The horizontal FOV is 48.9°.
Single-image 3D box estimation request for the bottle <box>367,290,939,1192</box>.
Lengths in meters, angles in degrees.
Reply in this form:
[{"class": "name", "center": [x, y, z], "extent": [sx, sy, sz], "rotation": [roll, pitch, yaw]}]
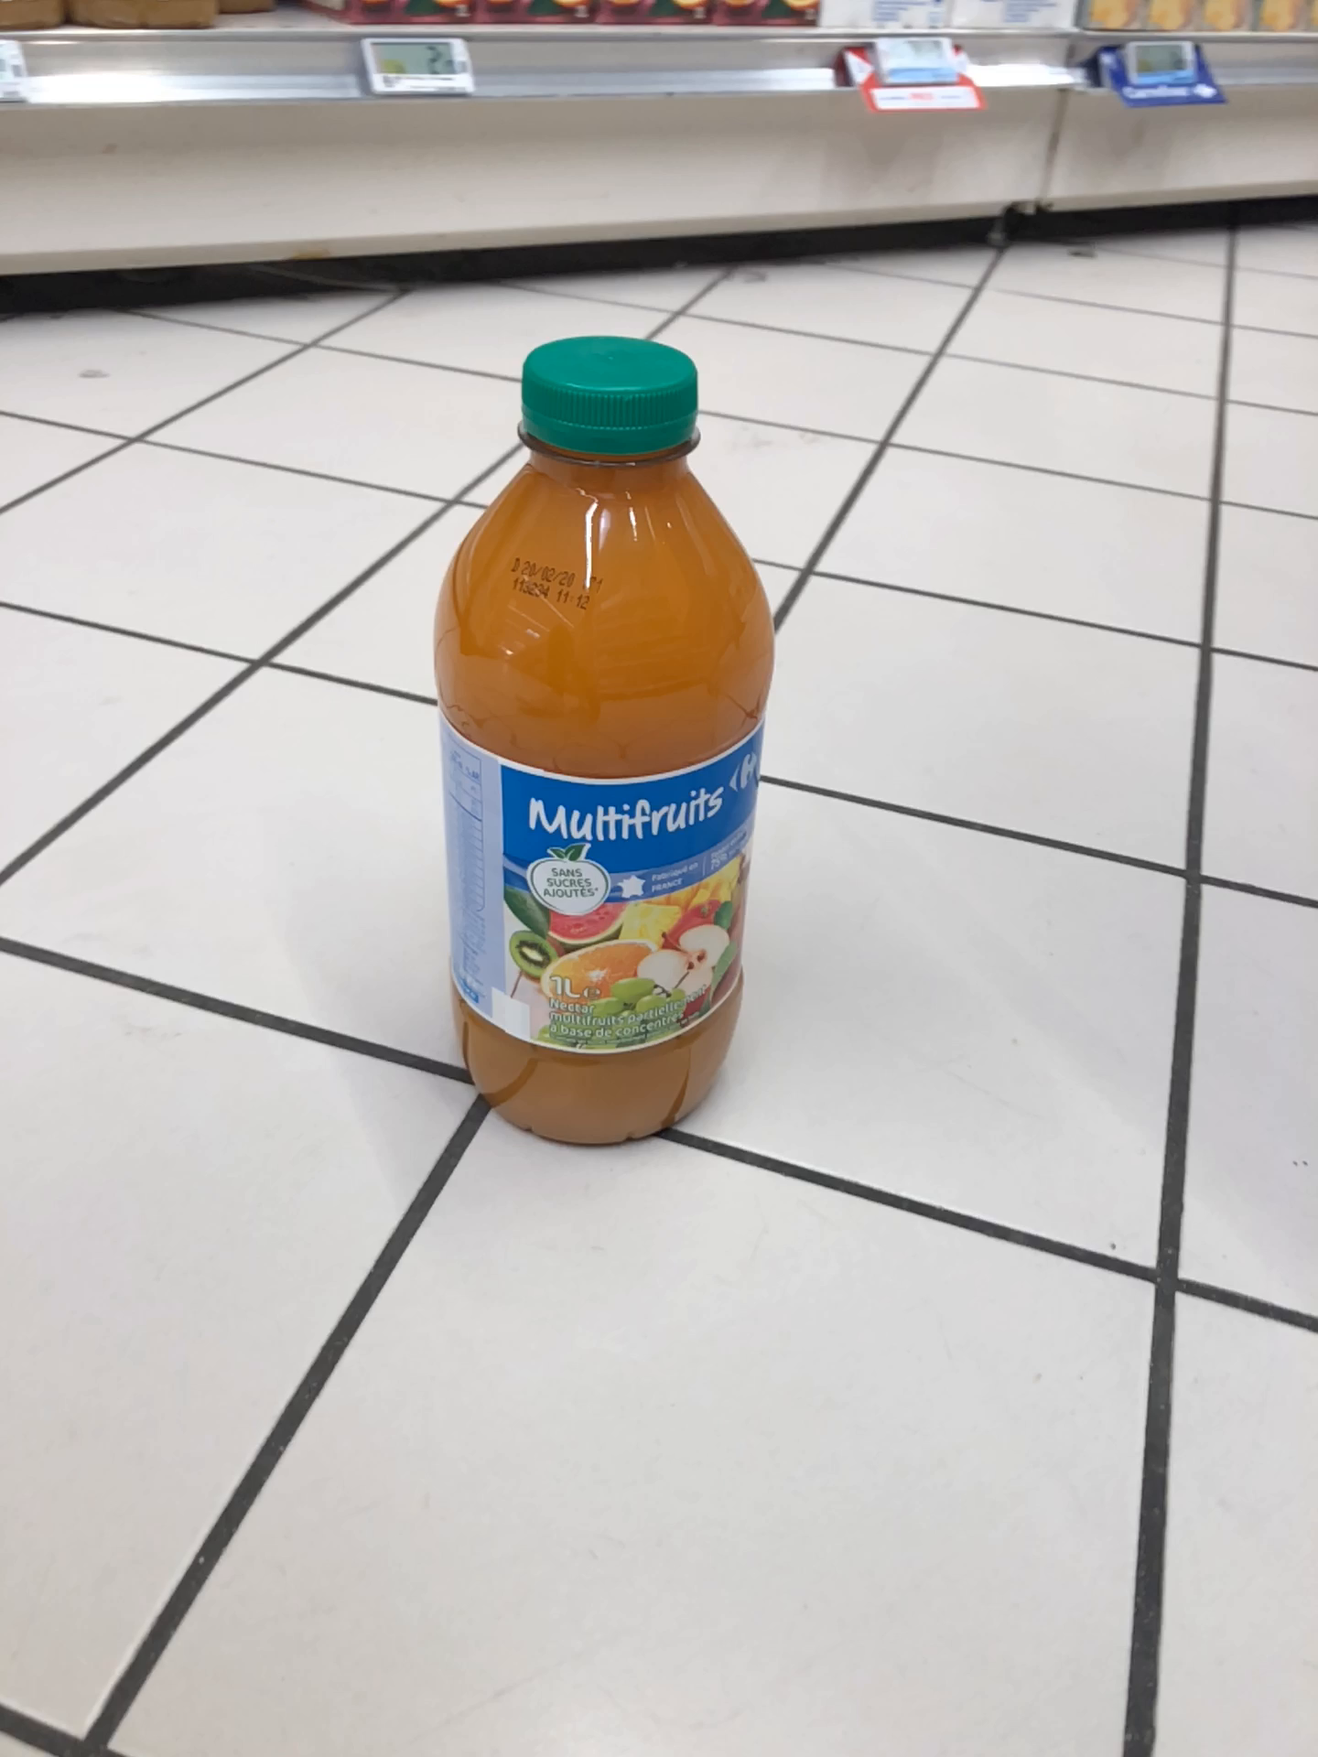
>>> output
[{"class": "bottle", "center": [-0.011, -0.036, 0.396], "extent": [0.100, 0.209, 0.100], "rotation": [3, 35, -2]}]
